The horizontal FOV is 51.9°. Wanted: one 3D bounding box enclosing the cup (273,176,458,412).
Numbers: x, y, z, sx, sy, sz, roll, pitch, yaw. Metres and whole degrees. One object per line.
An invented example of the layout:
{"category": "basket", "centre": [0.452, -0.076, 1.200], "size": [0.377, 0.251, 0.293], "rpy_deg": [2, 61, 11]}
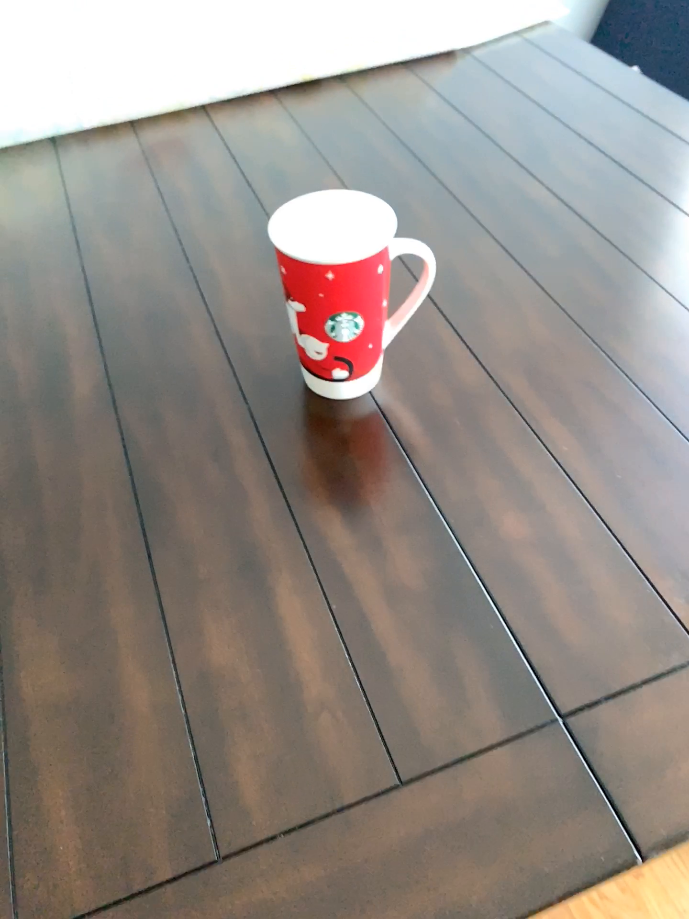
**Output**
{"category": "cup", "centre": [0.013, -0.121, 0.540], "size": [0.120, 0.149, 0.080], "rpy_deg": [-4, 49, -1]}
